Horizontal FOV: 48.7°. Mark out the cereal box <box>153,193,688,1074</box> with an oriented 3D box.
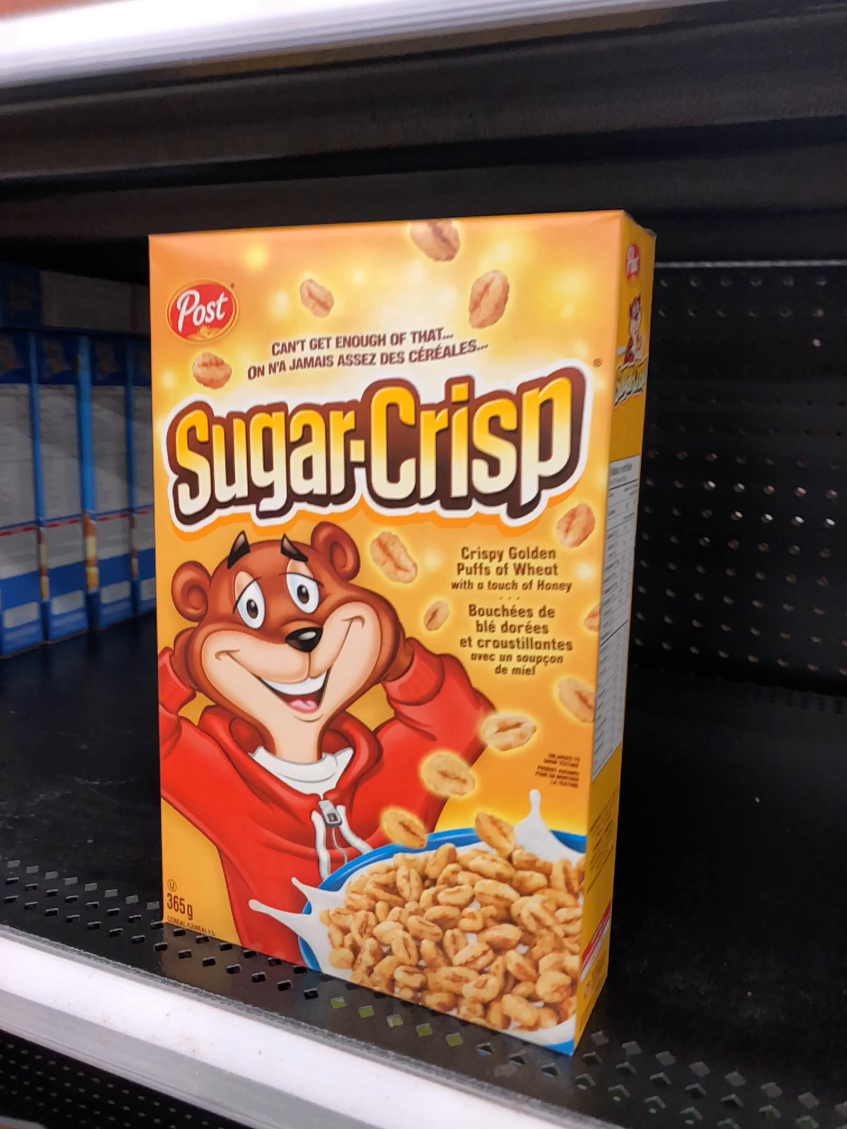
[{"bbox_3d":[-0.010,0.021,0.387,0.200,0.309,0.060,6,11,25],"label":"cereal box"}]
